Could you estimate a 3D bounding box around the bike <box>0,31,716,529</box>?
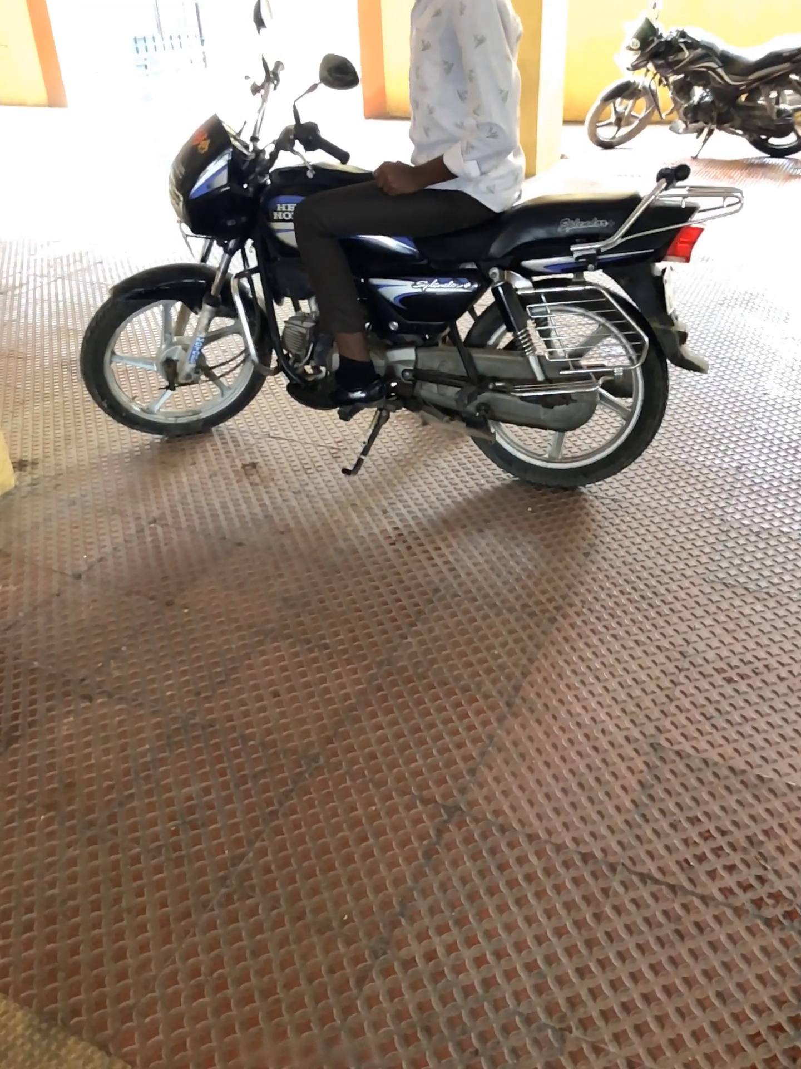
[{"bbox_3d":[-0.081,-0.771,2.534,1.705,1.107,0.688,6,33,10],"label":"bike"}]
